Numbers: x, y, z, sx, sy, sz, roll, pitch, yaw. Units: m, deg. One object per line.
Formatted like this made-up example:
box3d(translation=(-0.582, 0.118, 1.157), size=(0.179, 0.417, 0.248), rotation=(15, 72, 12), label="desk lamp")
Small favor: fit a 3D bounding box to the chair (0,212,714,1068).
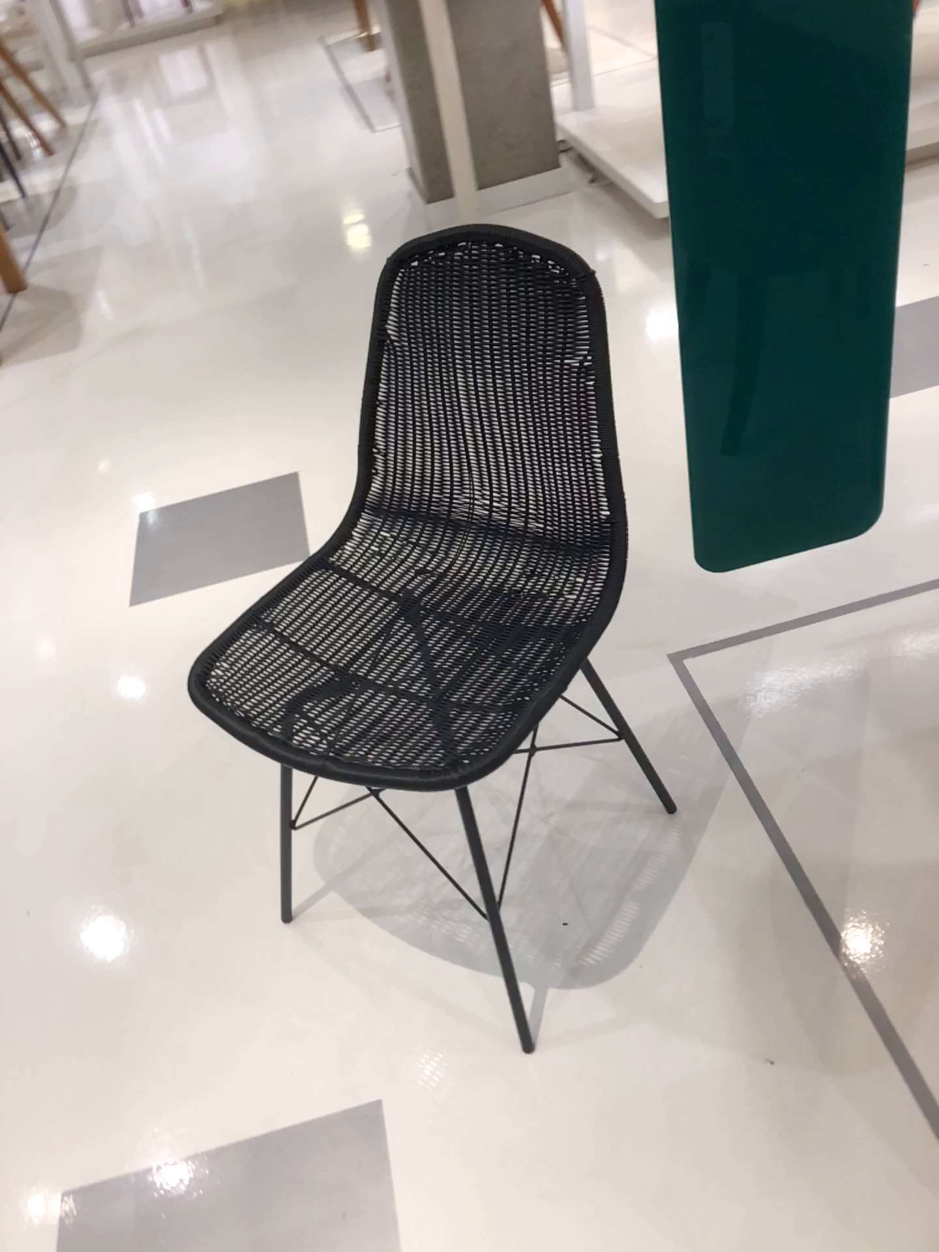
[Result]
box3d(translation=(-0.052, -0.002, 1.268), size=(0.481, 0.794, 0.553), rotation=(15, 46, 32), label="chair")
